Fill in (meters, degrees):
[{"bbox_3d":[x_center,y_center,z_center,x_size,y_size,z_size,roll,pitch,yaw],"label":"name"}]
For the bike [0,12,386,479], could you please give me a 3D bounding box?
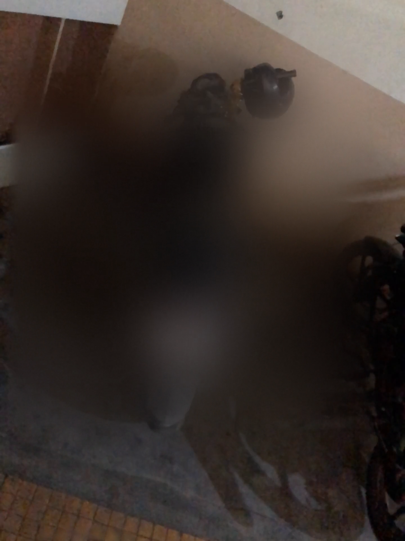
[{"bbox_3d":[-0.148,-0.266,1.965,0.717,1.179,1.712,22,33,-13],"label":"bike"}]
